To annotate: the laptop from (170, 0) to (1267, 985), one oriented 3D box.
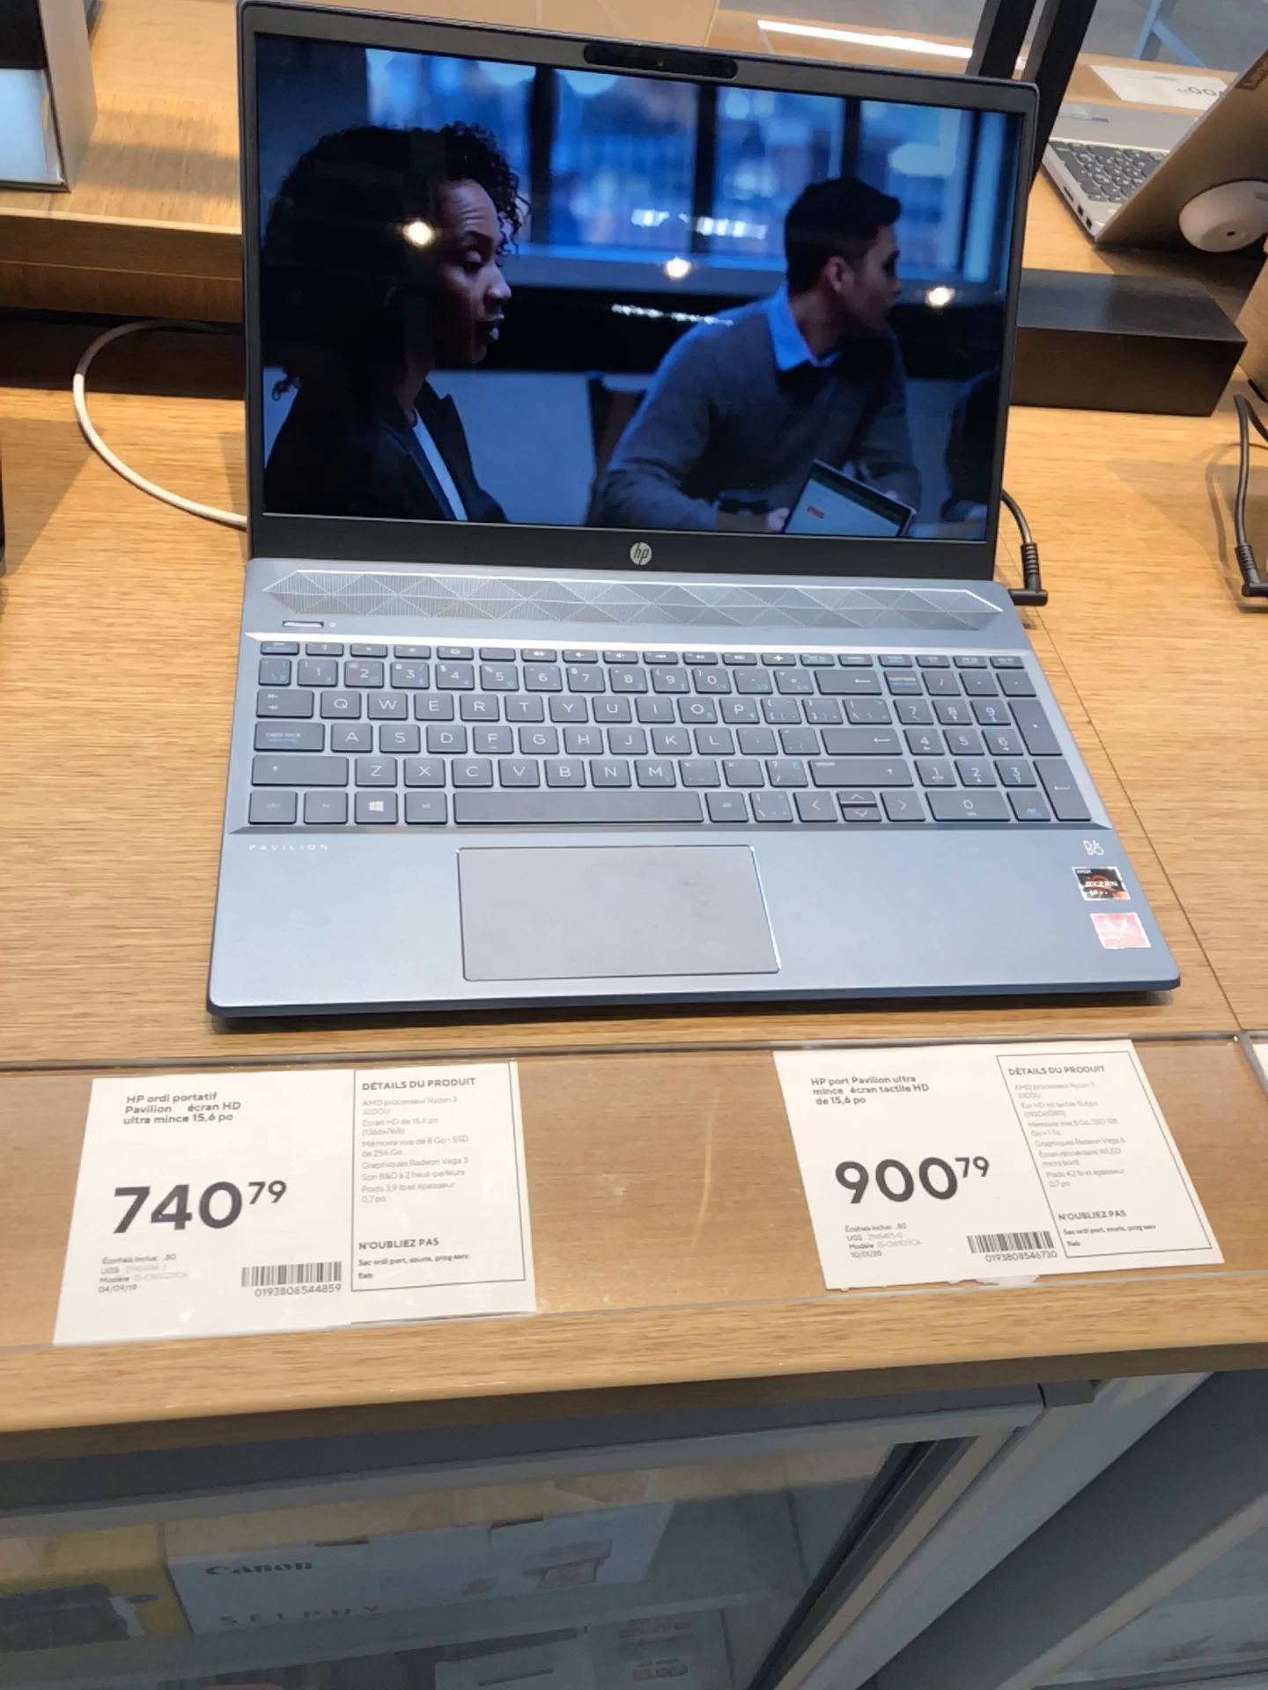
[{"bbox_3d":[0.021,-0.148,0.541,0.338,0.185,0.357,0,47,-12],"label":"laptop"}]
